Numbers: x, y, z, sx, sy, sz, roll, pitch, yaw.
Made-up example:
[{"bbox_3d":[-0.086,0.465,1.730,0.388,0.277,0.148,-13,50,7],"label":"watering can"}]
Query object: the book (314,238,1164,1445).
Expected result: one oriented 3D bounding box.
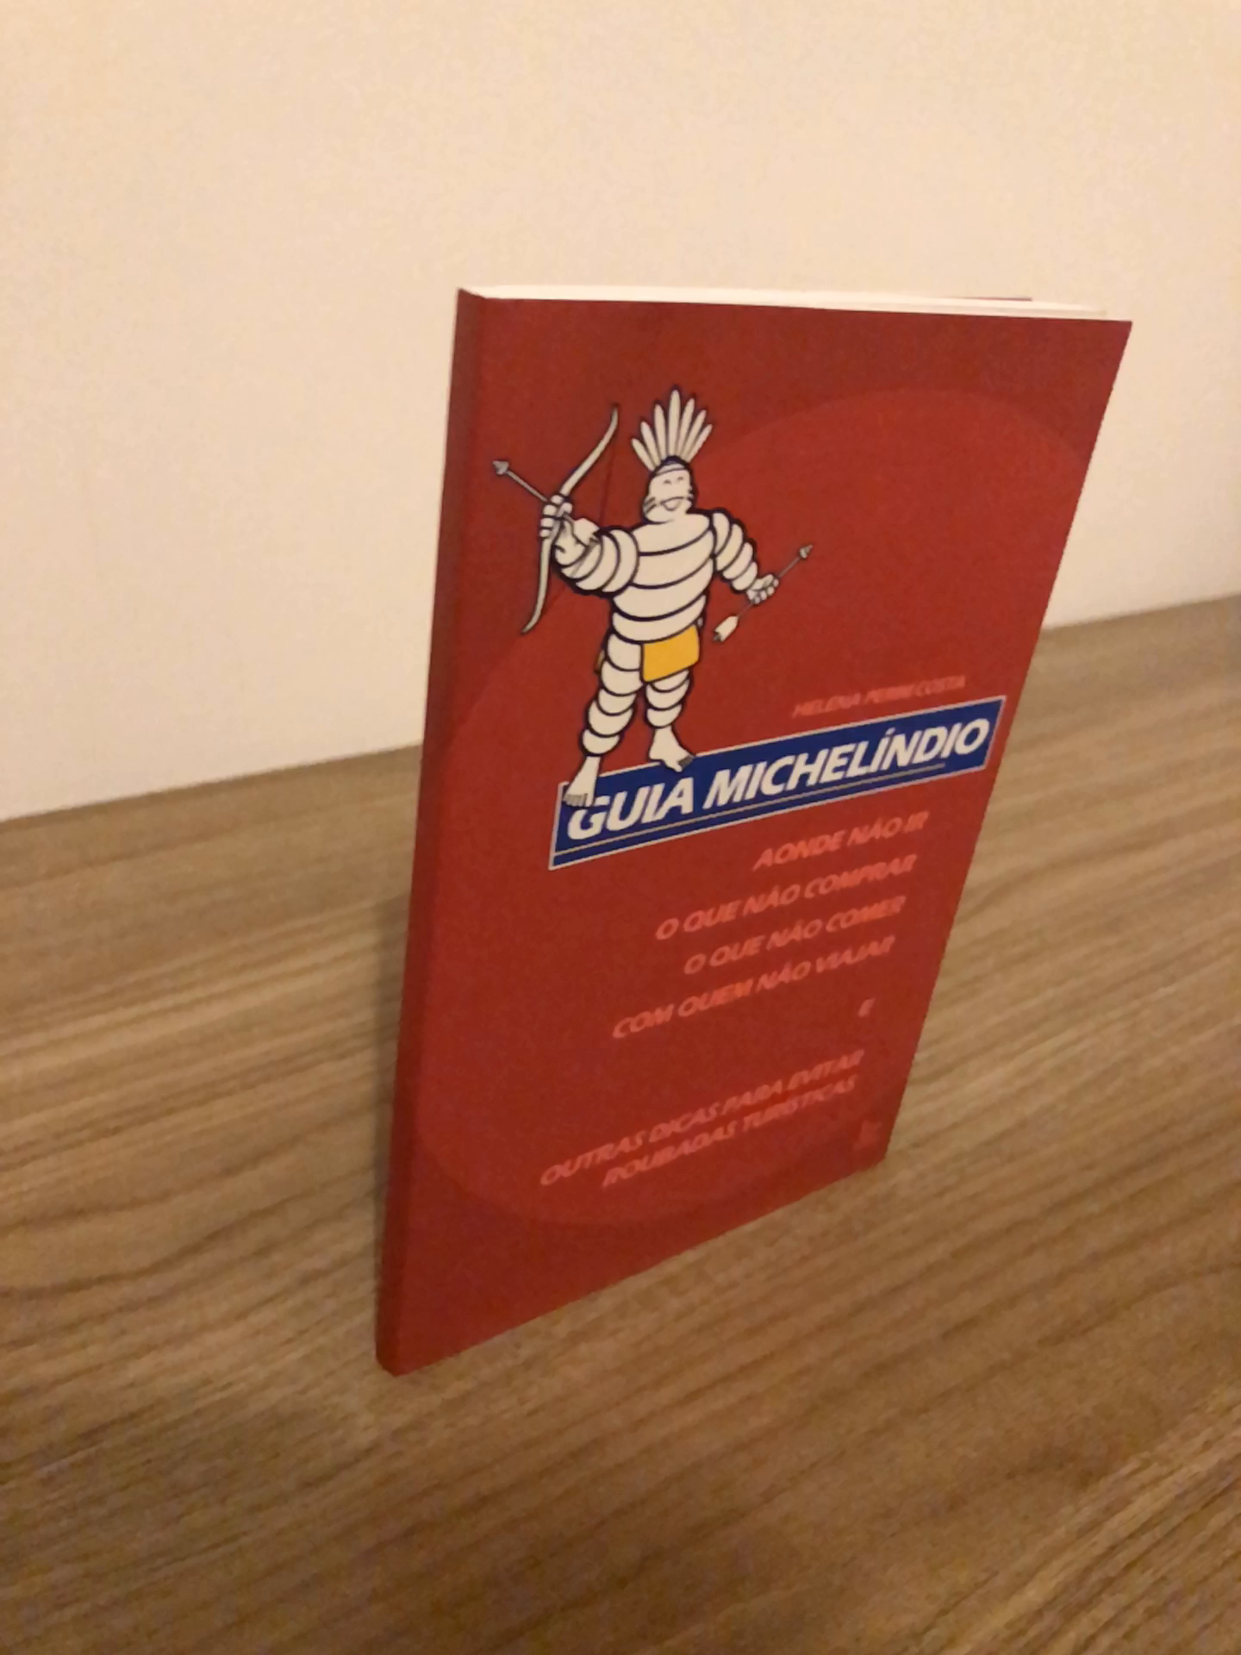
[{"bbox_3d":[0.018,0.008,0.268,0.150,0.218,0.020,-14,36,-35],"label":"book"}]
